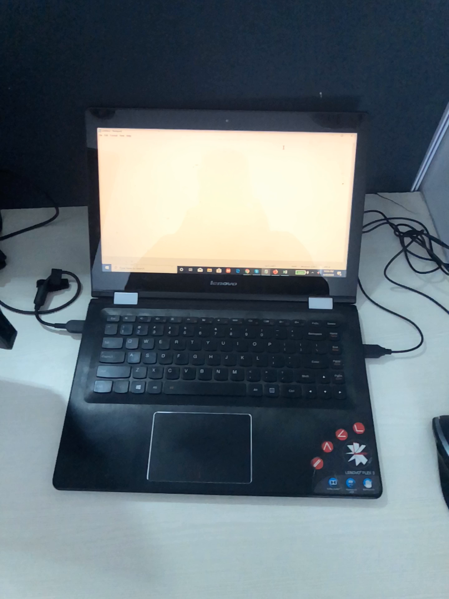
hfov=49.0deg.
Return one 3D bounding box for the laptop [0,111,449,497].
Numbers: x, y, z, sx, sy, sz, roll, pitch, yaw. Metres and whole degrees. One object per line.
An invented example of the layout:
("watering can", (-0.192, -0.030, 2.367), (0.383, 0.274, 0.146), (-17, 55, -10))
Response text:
("laptop", (-0.002, -0.012, 0.539), (0.334, 0.171, 0.387), (1, 55, 0))
